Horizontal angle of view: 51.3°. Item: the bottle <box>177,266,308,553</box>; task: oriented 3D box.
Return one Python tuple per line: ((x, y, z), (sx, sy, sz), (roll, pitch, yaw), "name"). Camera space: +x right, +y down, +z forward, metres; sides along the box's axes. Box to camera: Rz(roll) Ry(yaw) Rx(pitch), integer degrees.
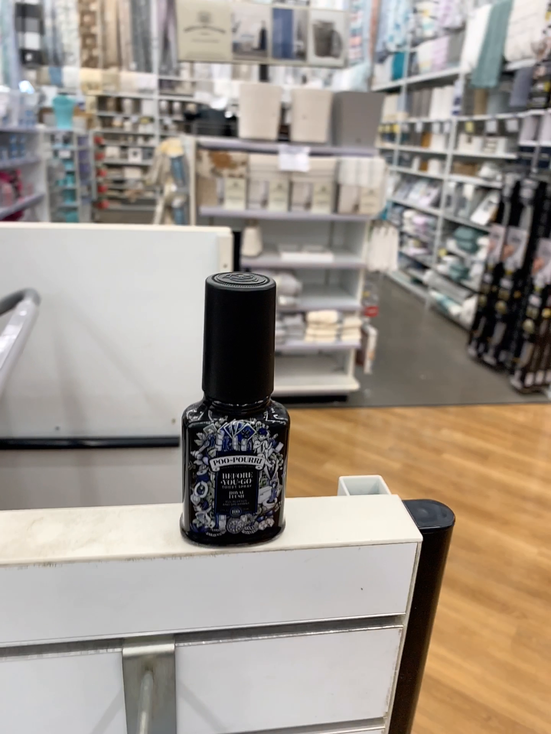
((-0.018, 0.020, 0.255), (0.050, 0.123, 0.033), (-1, 22, -9), "bottle")
